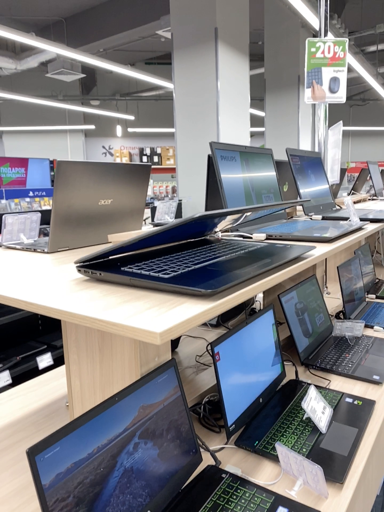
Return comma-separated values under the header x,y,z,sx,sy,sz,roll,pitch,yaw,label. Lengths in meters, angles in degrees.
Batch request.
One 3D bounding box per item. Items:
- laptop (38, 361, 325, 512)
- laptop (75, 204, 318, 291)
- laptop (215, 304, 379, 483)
x,y,z,sx,sy,sz,roll,pitch,yaw,label
0.006,0.367,0.639,0.315,0.220,0.344,4,9,33,laptop
0.036,-0.042,0.733,0.271,0.084,0.404,7,13,35,laptop
0.277,0.300,0.996,0.299,0.226,0.354,5,12,35,laptop
